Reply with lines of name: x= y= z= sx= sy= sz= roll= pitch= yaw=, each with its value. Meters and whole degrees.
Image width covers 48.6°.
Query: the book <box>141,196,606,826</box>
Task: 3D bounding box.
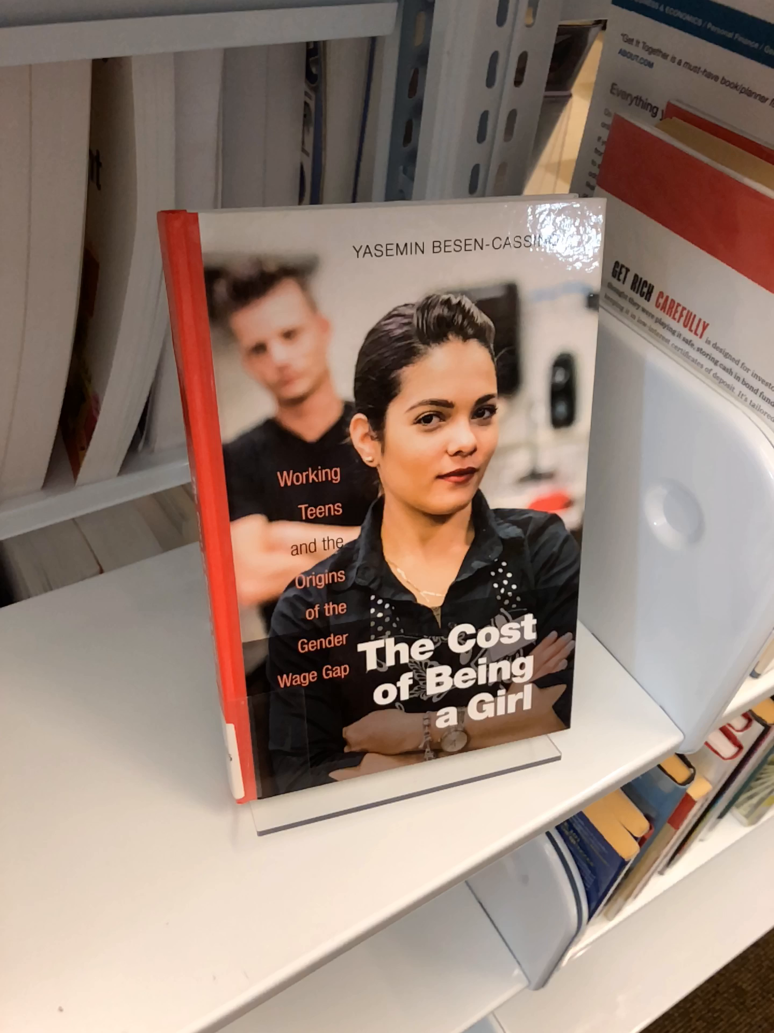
book: x=0.001 y=0.001 z=0.335 sx=0.157 sy=0.230 sz=0.030 roll=-9 pitch=23 yaw=-16
